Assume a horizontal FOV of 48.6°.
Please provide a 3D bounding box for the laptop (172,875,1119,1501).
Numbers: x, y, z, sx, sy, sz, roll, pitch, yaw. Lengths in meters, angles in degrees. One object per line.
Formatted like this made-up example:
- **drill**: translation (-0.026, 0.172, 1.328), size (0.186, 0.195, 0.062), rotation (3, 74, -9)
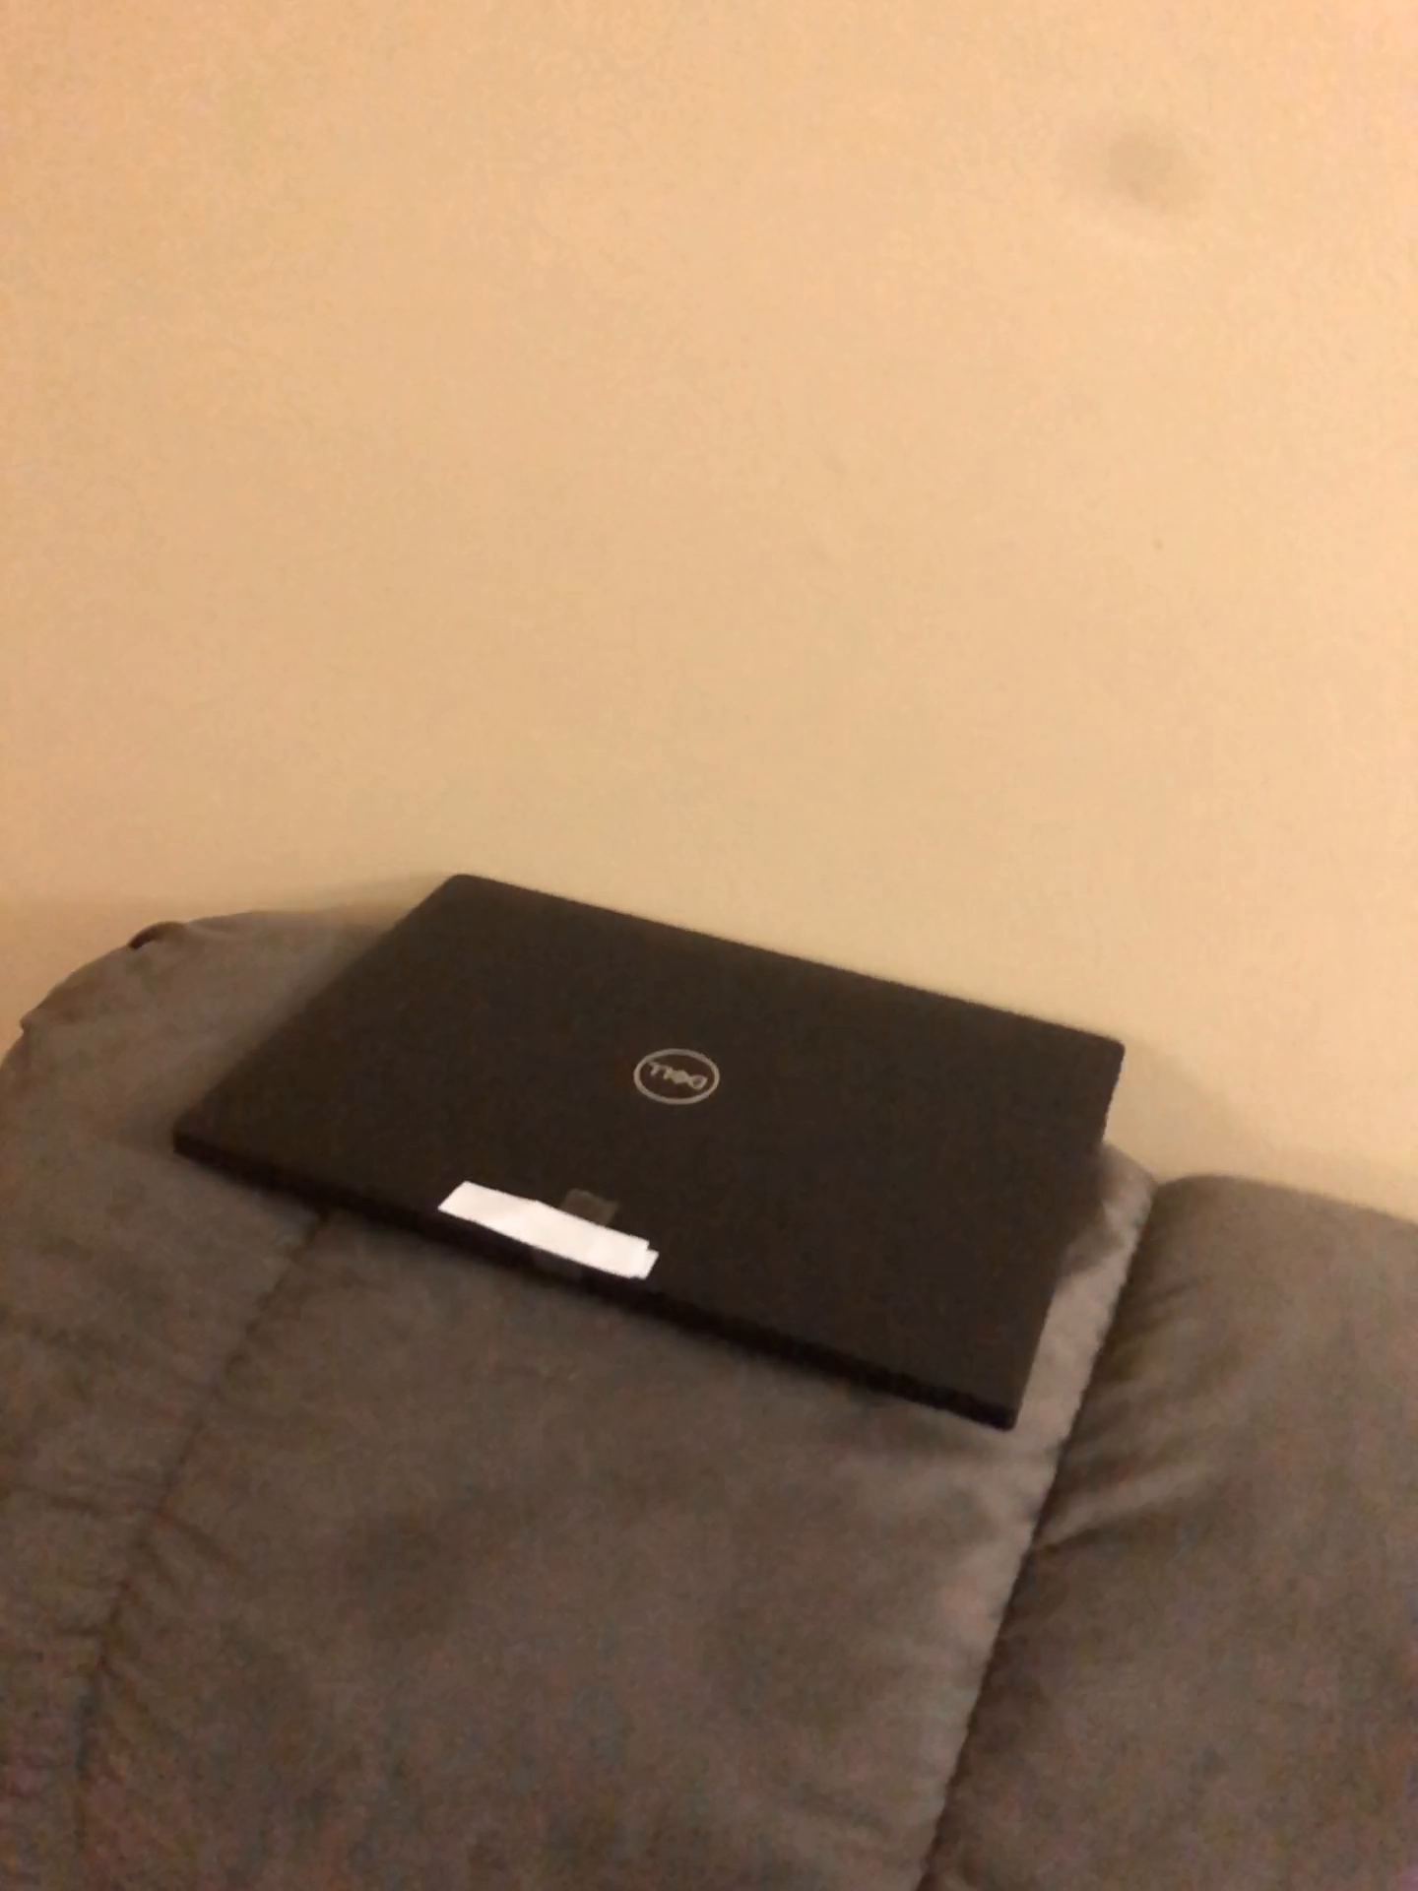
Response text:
- **laptop**: translation (-0.018, 0.071, 0.634), size (0.325, 0.030, 0.215), rotation (15, 34, 19)
